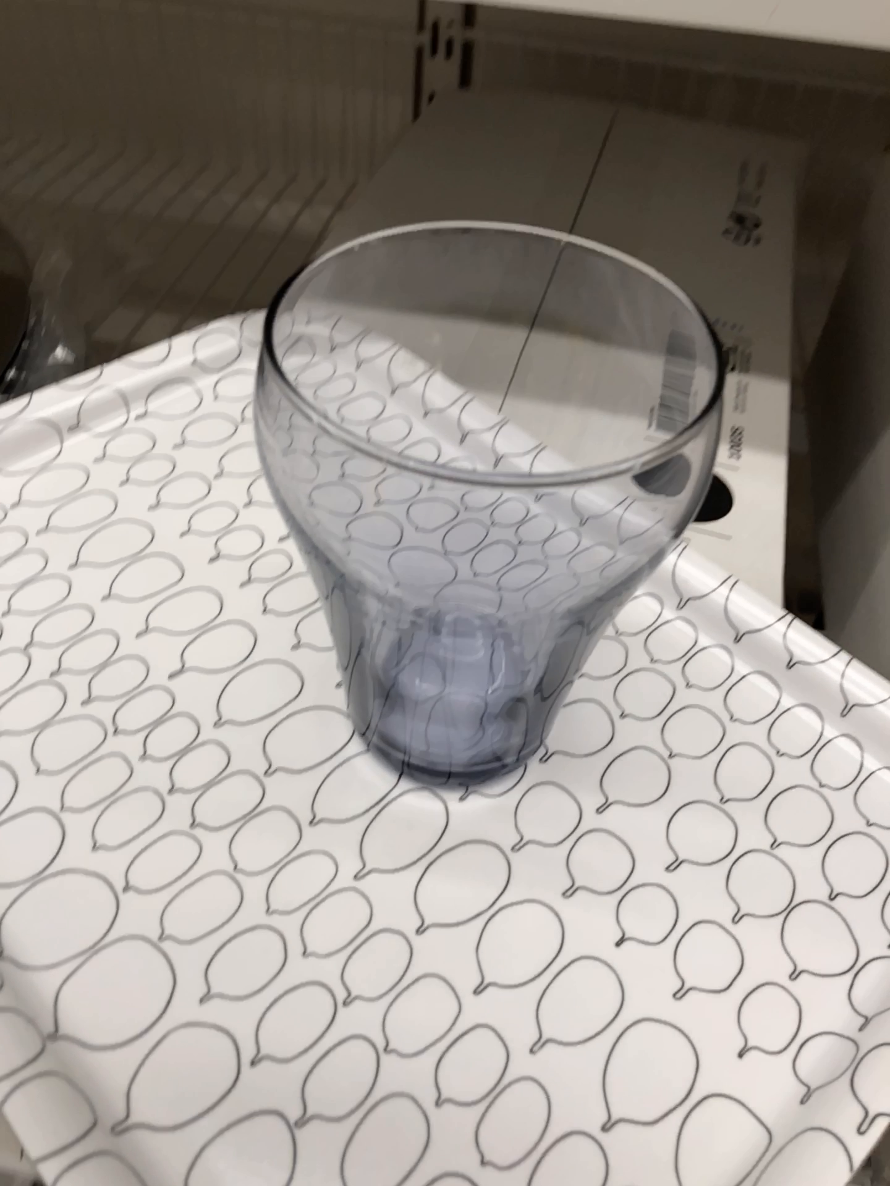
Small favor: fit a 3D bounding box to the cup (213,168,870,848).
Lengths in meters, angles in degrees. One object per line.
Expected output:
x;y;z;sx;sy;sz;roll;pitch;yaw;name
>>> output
0.006;-0.020;0.187;0.080;0.080;0.090;-8;45;-14;cup
